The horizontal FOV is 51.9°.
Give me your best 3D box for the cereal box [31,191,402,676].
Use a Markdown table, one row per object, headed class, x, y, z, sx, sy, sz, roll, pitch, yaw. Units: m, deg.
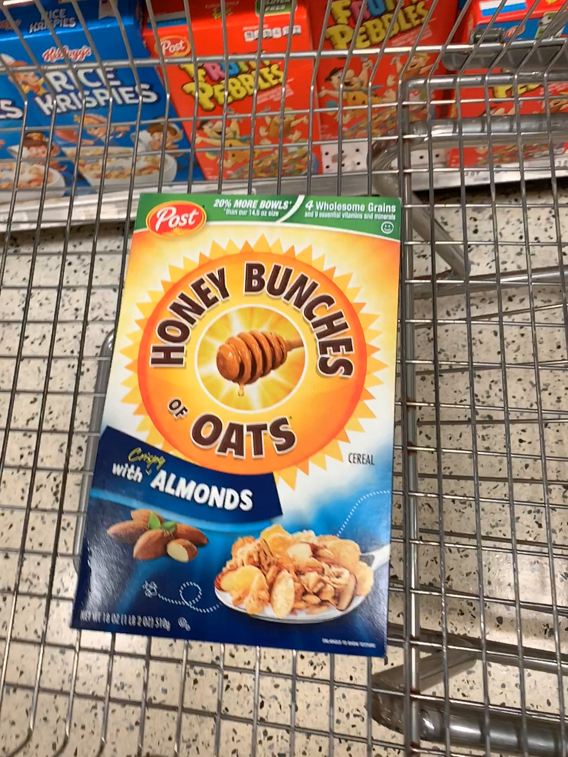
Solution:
| class | x | y | z | sx | sy | sz | roll | pitch | yaw |
| --- | --- | --- | --- | --- | --- | --- | --- | --- | --- |
| cereal box | -0.031 | 0.022 | 0.401 | 0.210 | 0.060 | 0.301 | 3 | 75 | 6 |
